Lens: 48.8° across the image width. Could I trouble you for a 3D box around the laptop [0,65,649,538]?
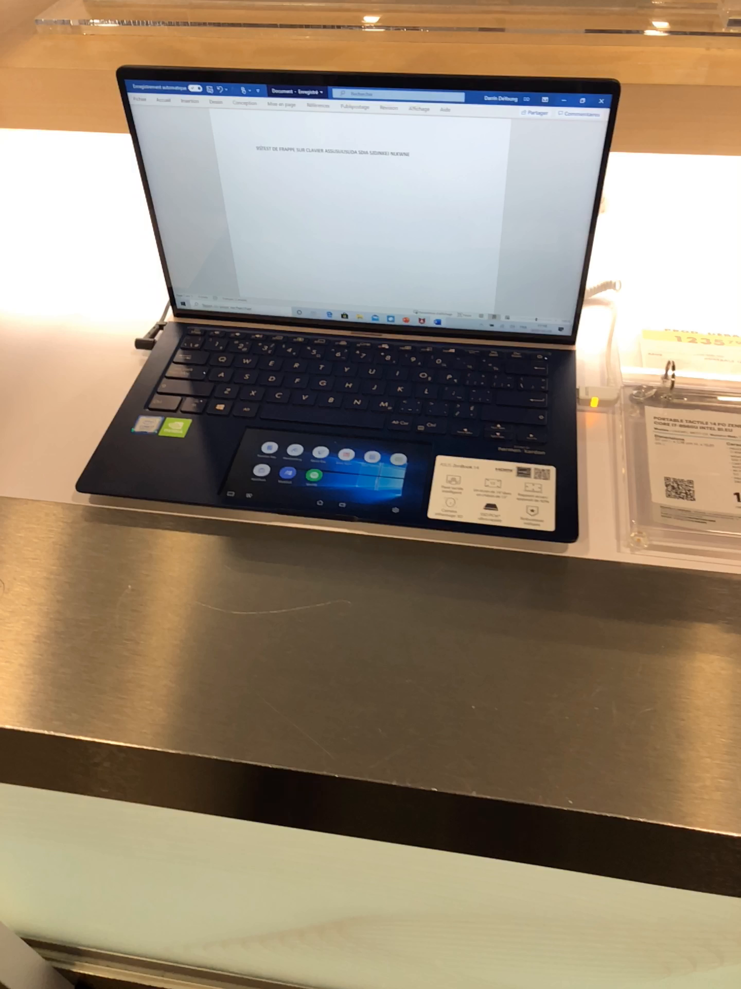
[{"bbox_3d":[-0.021,-0.125,0.502,0.317,0.193,0.200,5,46,8],"label":"laptop"}]
